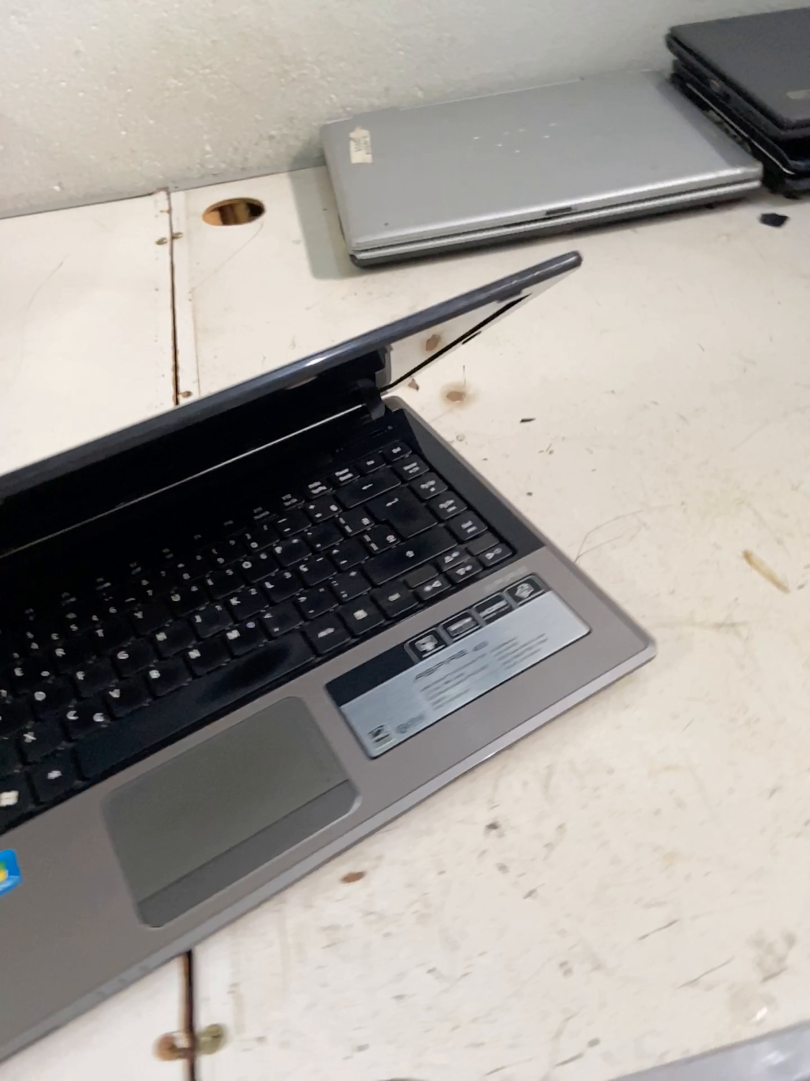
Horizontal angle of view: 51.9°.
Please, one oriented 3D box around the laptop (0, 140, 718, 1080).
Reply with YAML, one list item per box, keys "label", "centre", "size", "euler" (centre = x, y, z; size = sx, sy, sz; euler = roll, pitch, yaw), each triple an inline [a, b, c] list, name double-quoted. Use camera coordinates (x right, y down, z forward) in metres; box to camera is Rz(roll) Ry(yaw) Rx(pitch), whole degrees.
- label: "laptop"
  centre: [-0.092, -0.002, 0.338]
  size: [0.335, 0.157, 0.226]
  euler: [-27, 50, -19]
